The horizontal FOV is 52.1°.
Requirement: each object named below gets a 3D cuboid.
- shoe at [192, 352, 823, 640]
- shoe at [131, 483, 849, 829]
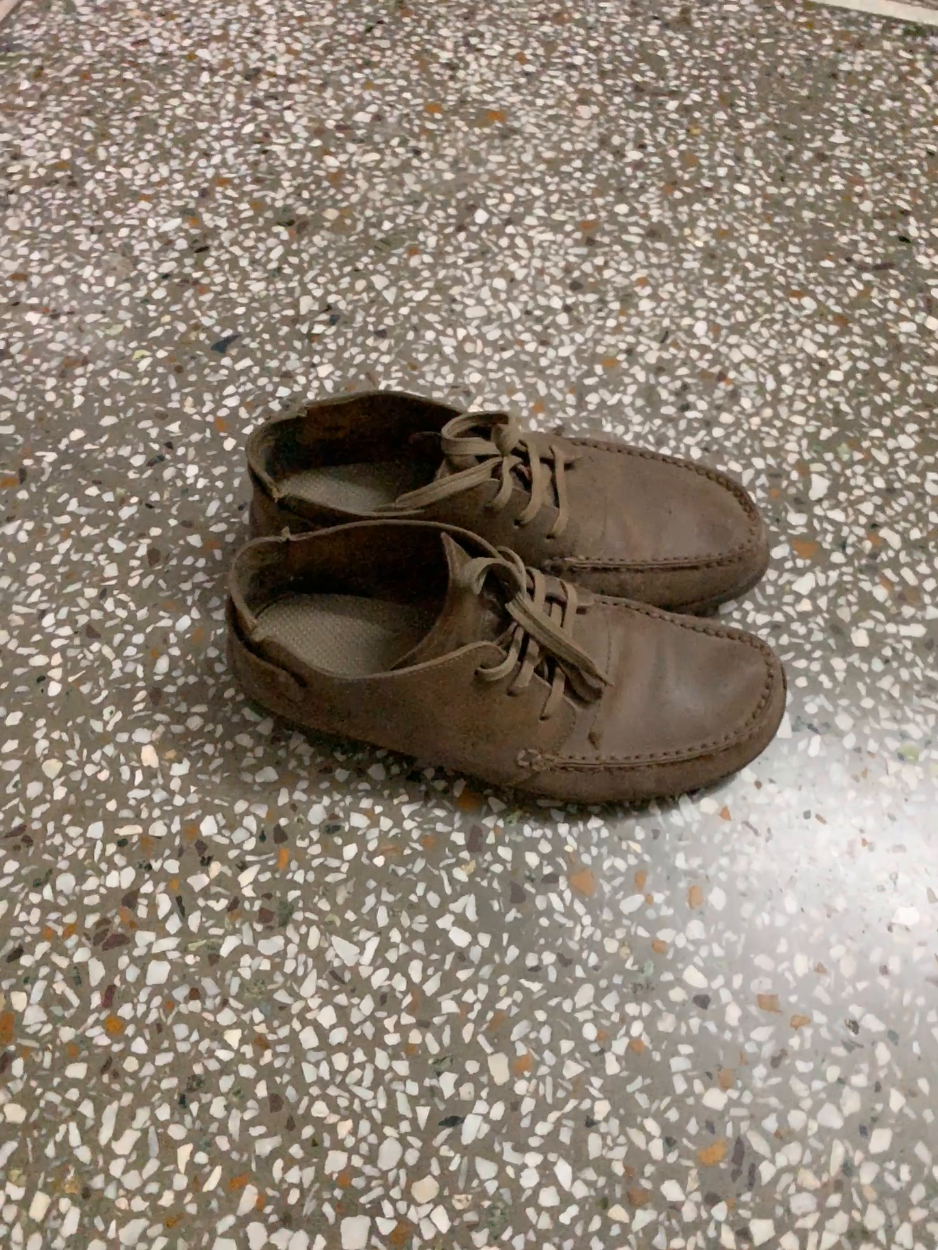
[{"bbox_3d":[0.018,-0.065,0.508,0.290,0.100,0.100,3,63,0],"label":"shoe"},{"bbox_3d":[0.011,0.018,0.453,0.290,0.100,0.100,6,63,2],"label":"shoe"}]
